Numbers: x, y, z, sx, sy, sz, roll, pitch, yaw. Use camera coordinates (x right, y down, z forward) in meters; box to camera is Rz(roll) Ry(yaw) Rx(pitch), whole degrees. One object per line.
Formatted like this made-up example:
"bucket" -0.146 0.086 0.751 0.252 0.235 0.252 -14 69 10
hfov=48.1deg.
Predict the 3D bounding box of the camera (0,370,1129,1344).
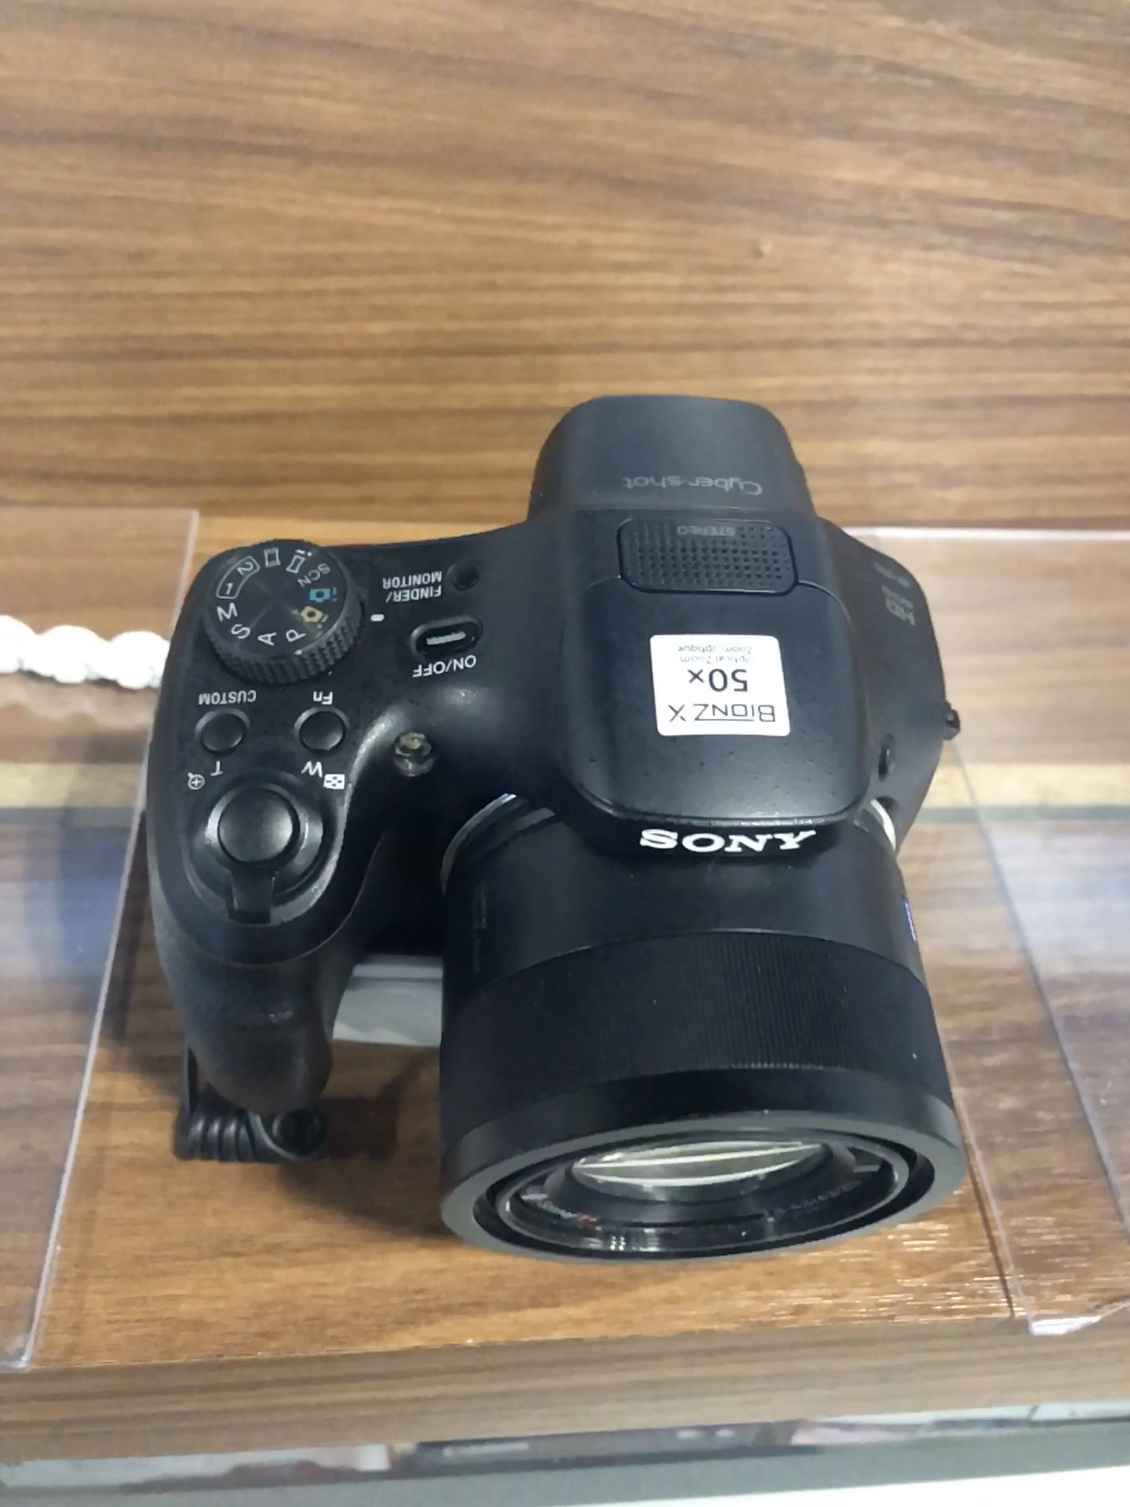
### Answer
"camera" 0.001 0.013 0.187 0.125 0.084 0.110 1 47 -6
